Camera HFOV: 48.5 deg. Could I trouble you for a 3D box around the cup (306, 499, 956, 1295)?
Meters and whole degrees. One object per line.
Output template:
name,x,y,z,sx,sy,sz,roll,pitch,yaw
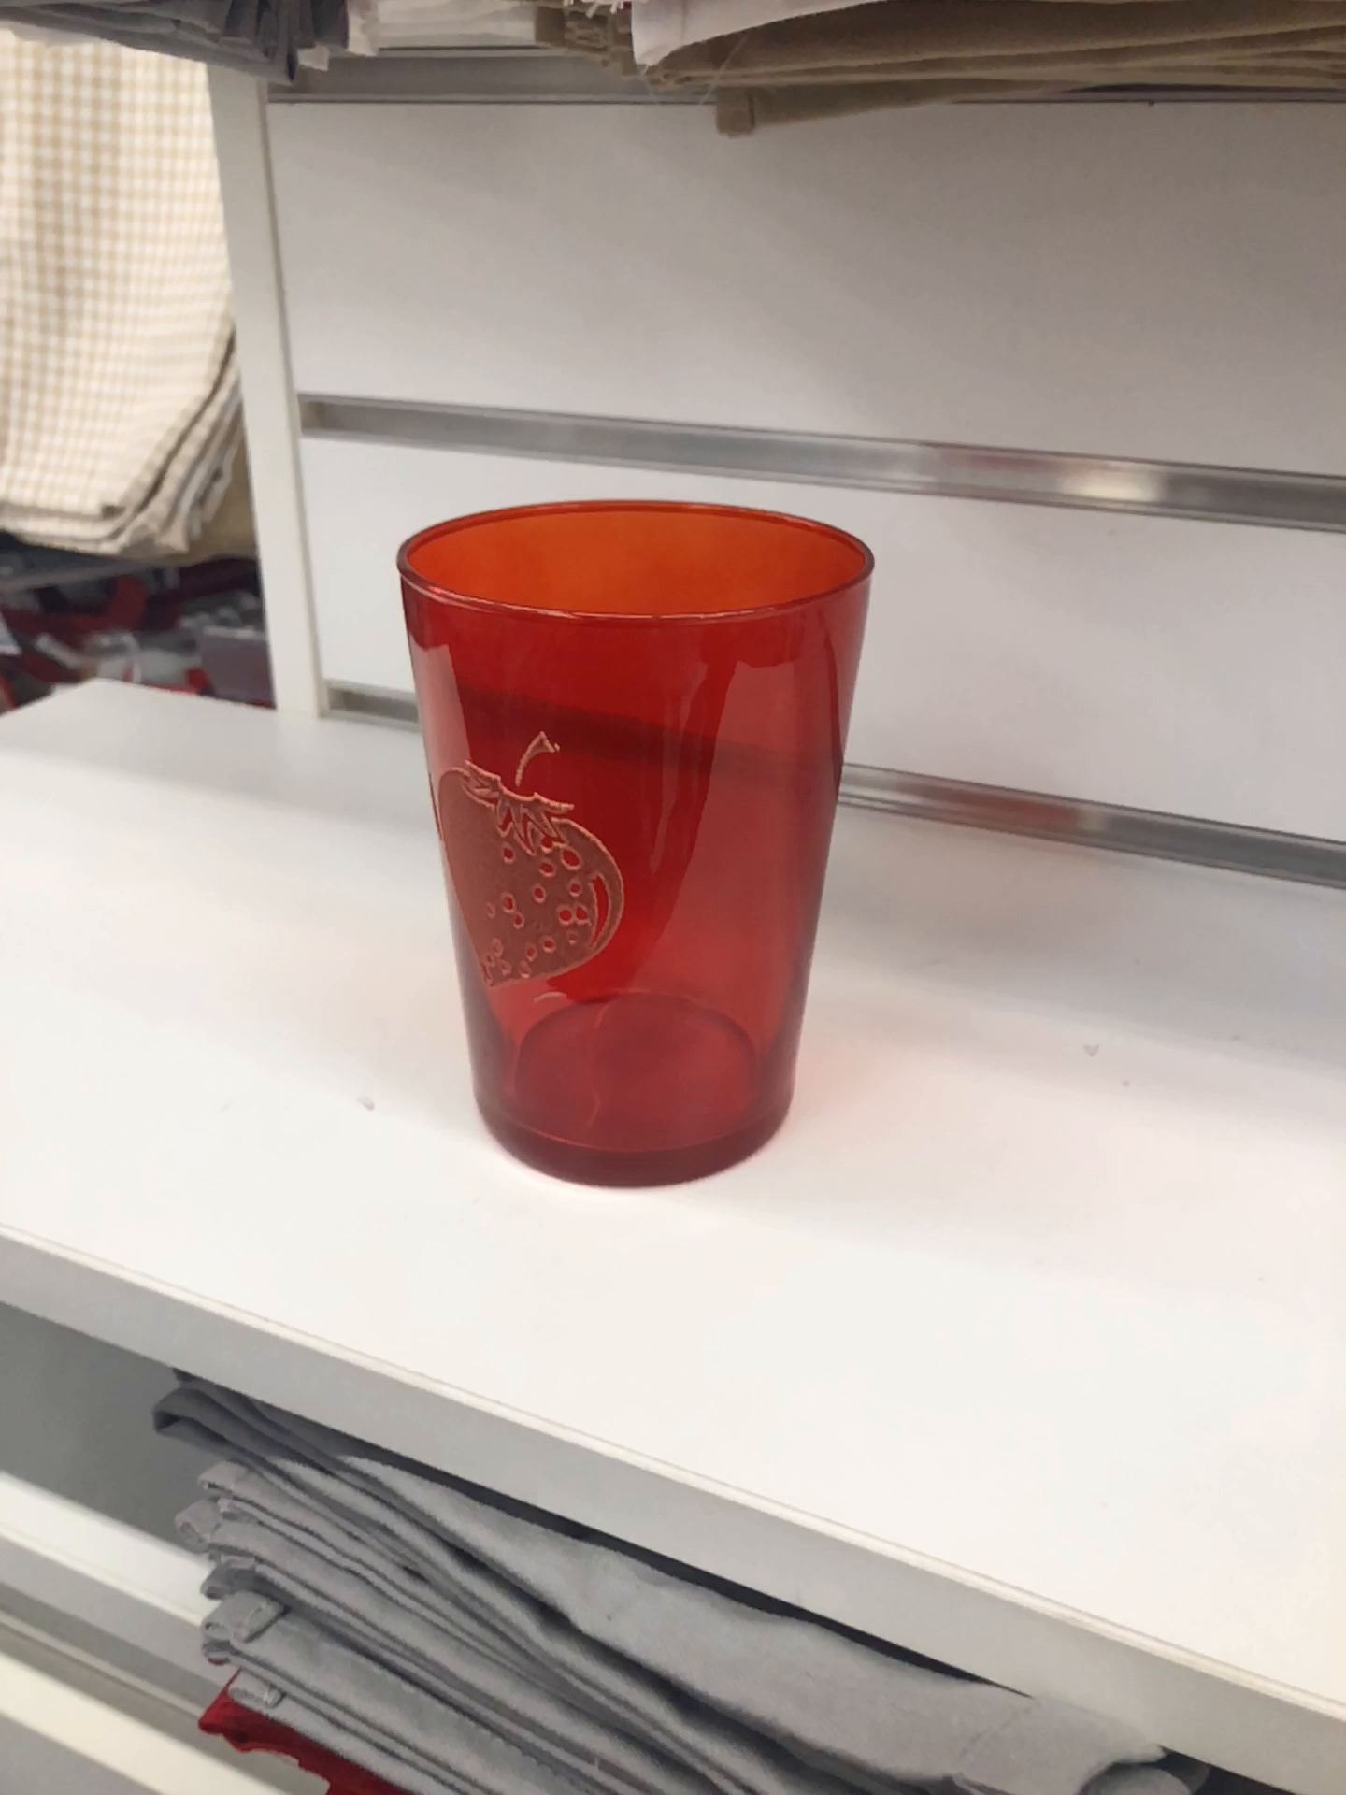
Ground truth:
cup,-0.004,-0.008,0.304,0.091,0.121,0.091,1,25,0
